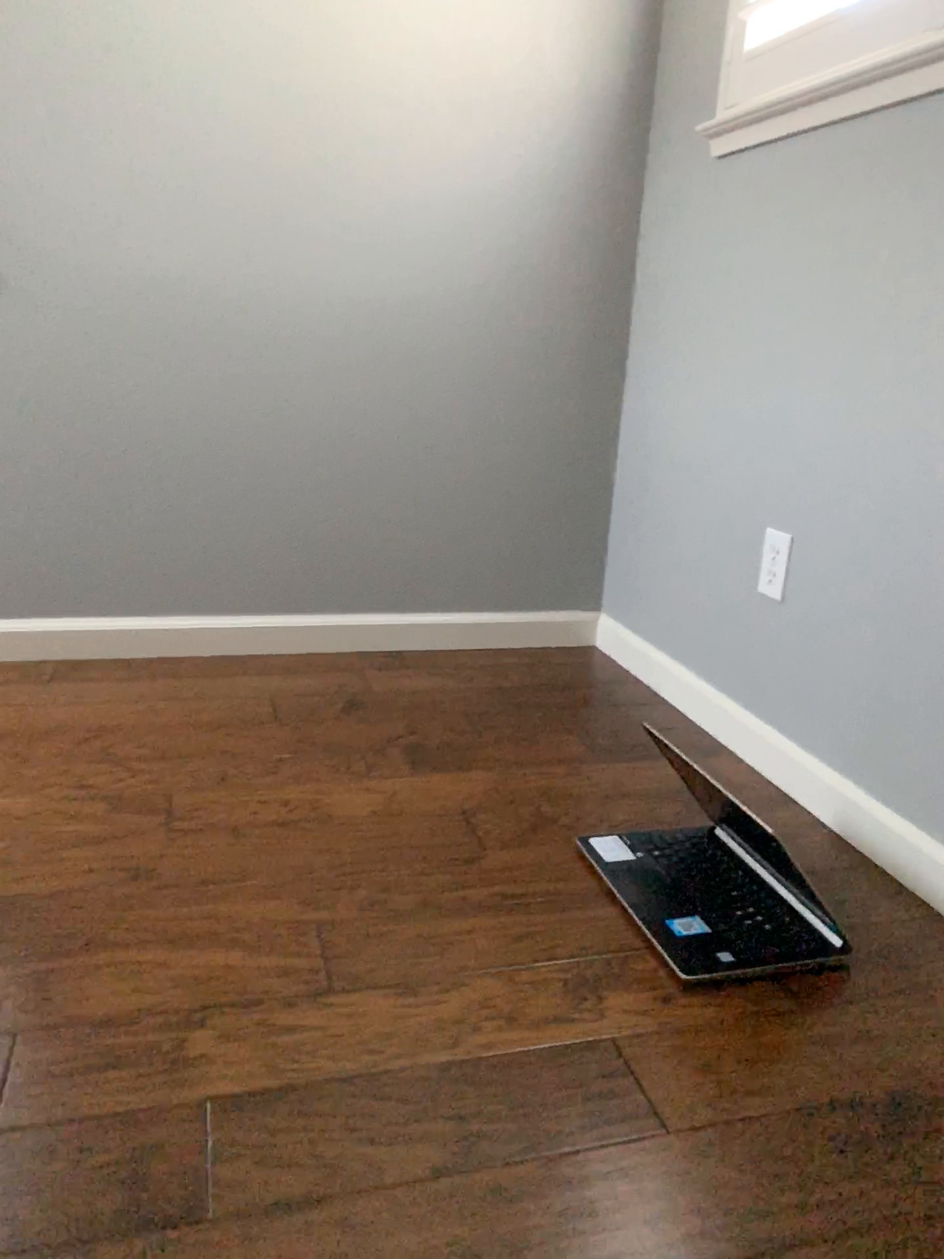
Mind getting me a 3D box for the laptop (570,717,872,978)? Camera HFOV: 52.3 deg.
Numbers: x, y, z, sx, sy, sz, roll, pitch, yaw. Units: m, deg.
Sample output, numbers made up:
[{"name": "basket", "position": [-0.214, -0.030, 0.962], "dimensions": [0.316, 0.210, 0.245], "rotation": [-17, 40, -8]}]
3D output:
[{"name": "laptop", "position": [0.292, 0.252, 1.208], "dimensions": [0.219, 0.169, 0.318], "rotation": [-1, 16, -17]}]
